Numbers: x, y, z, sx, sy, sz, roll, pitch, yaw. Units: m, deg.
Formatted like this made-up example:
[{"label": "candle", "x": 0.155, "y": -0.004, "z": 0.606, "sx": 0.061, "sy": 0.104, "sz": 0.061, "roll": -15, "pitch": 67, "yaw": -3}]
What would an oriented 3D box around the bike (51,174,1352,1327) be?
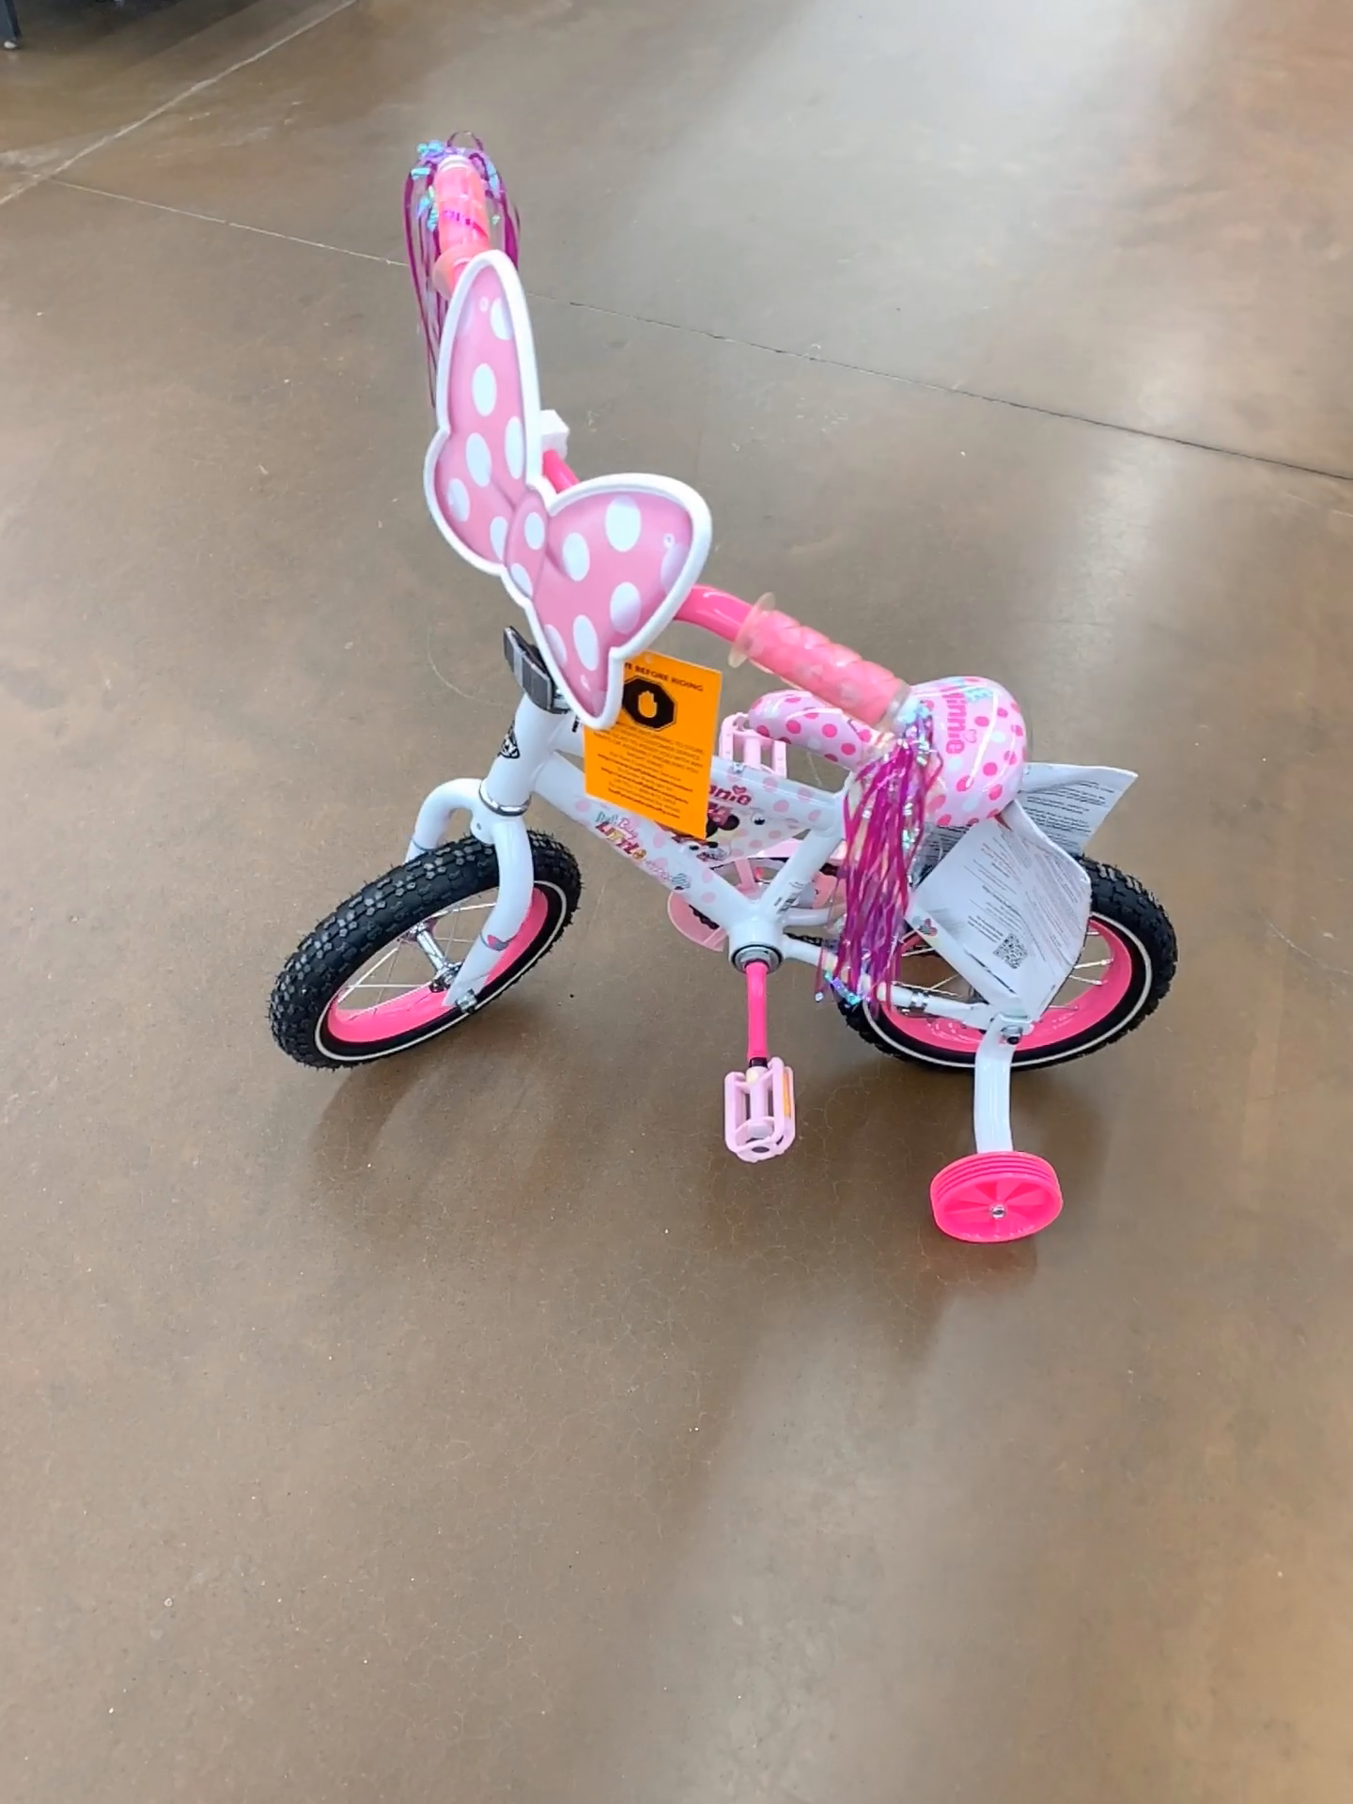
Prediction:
[{"label": "bike", "x": 0.049, "y": -0.064, "z": 1.055, "sx": 0.776, "sy": 0.707, "sz": 0.429, "roll": -4, "pitch": 49, "yaw": -2}]
